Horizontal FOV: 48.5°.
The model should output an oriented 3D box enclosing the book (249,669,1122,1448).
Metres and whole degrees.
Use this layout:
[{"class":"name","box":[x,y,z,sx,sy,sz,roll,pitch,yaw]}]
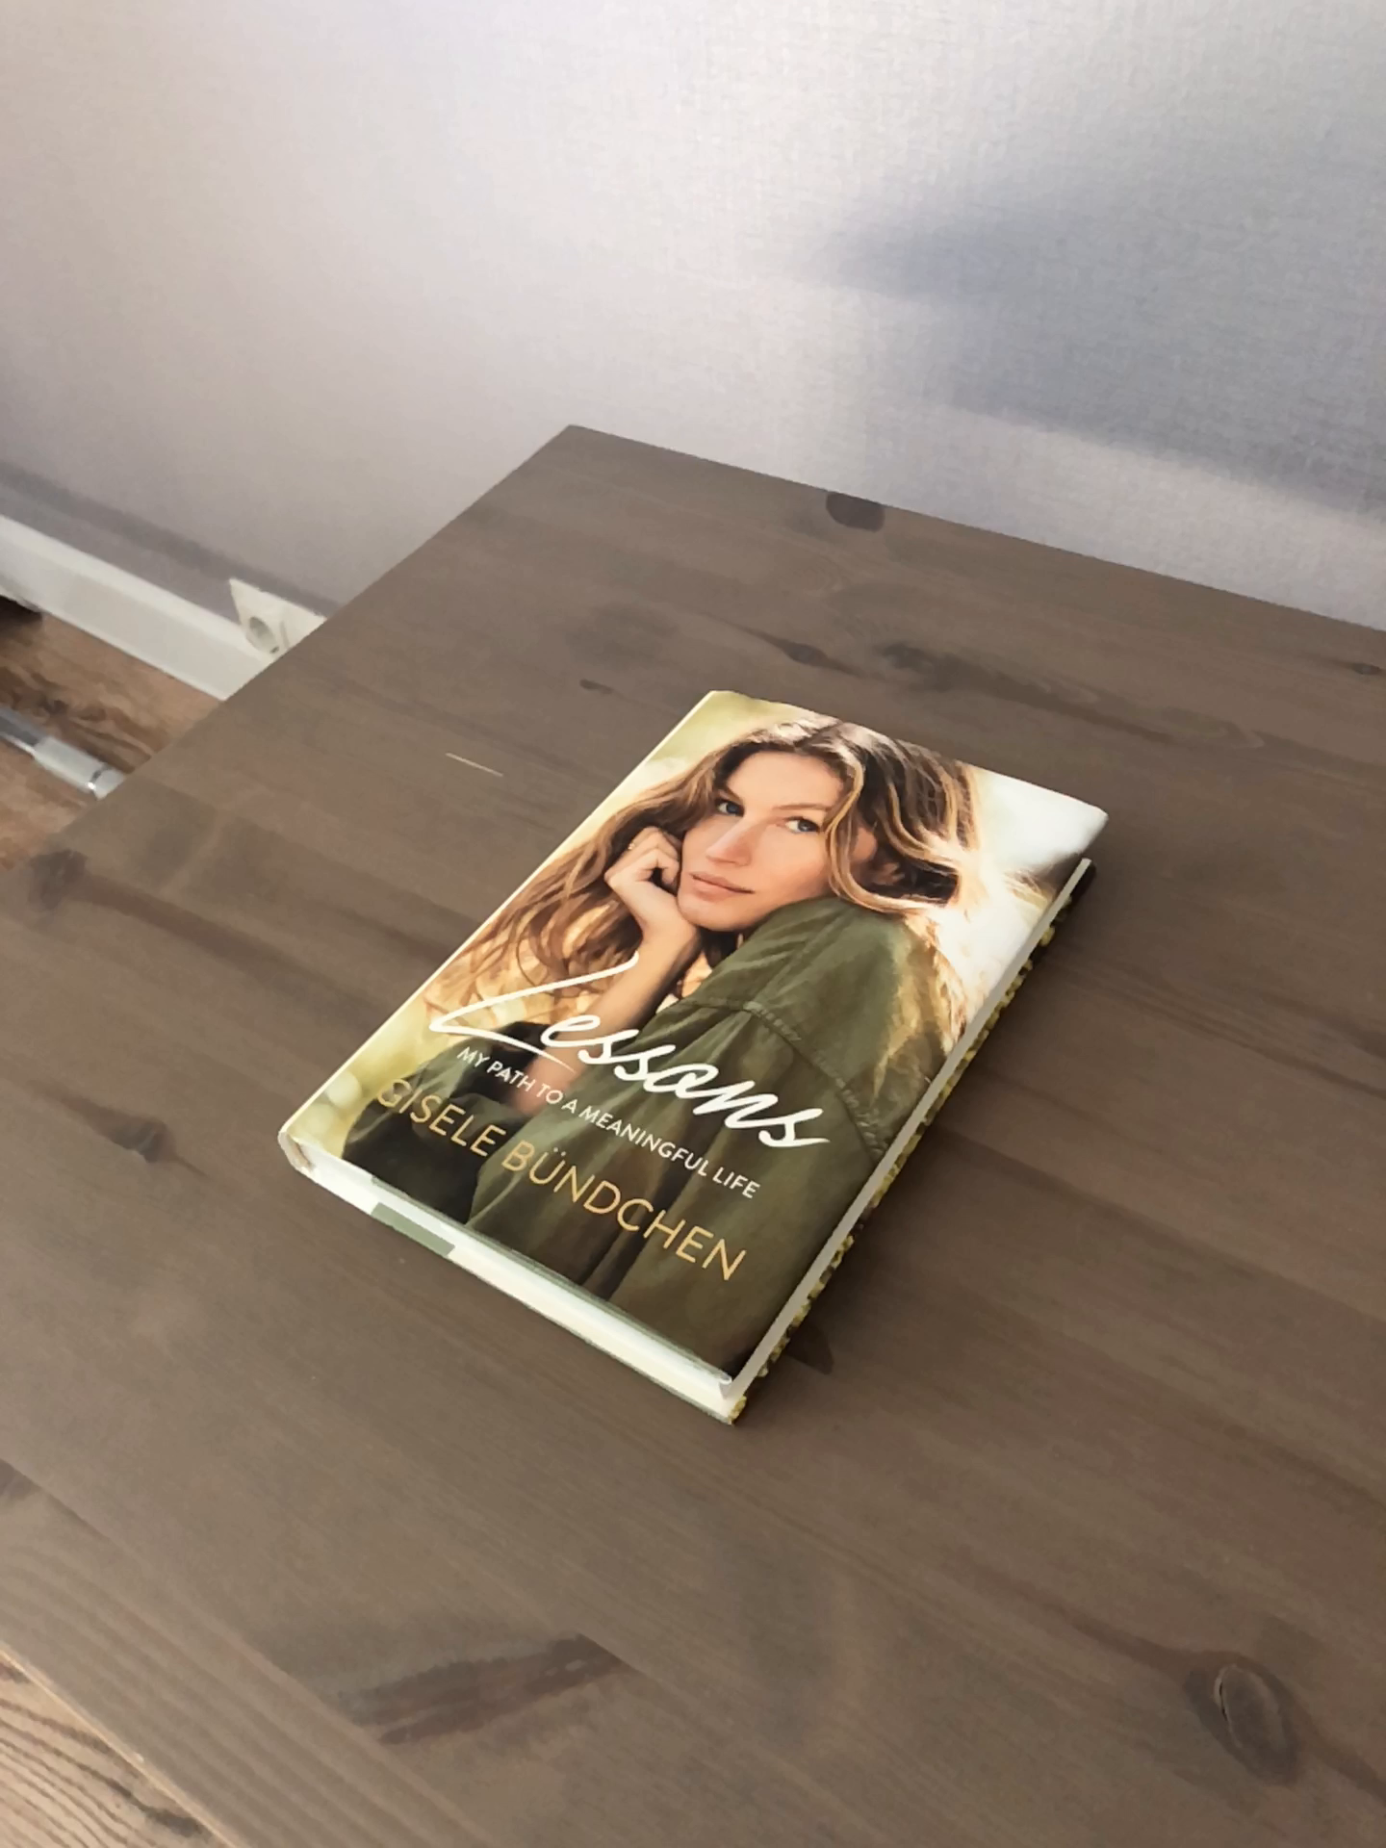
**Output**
[{"class":"book","box":[0.007,0.019,0.465,0.160,0.030,0.228,23,52,25]}]
